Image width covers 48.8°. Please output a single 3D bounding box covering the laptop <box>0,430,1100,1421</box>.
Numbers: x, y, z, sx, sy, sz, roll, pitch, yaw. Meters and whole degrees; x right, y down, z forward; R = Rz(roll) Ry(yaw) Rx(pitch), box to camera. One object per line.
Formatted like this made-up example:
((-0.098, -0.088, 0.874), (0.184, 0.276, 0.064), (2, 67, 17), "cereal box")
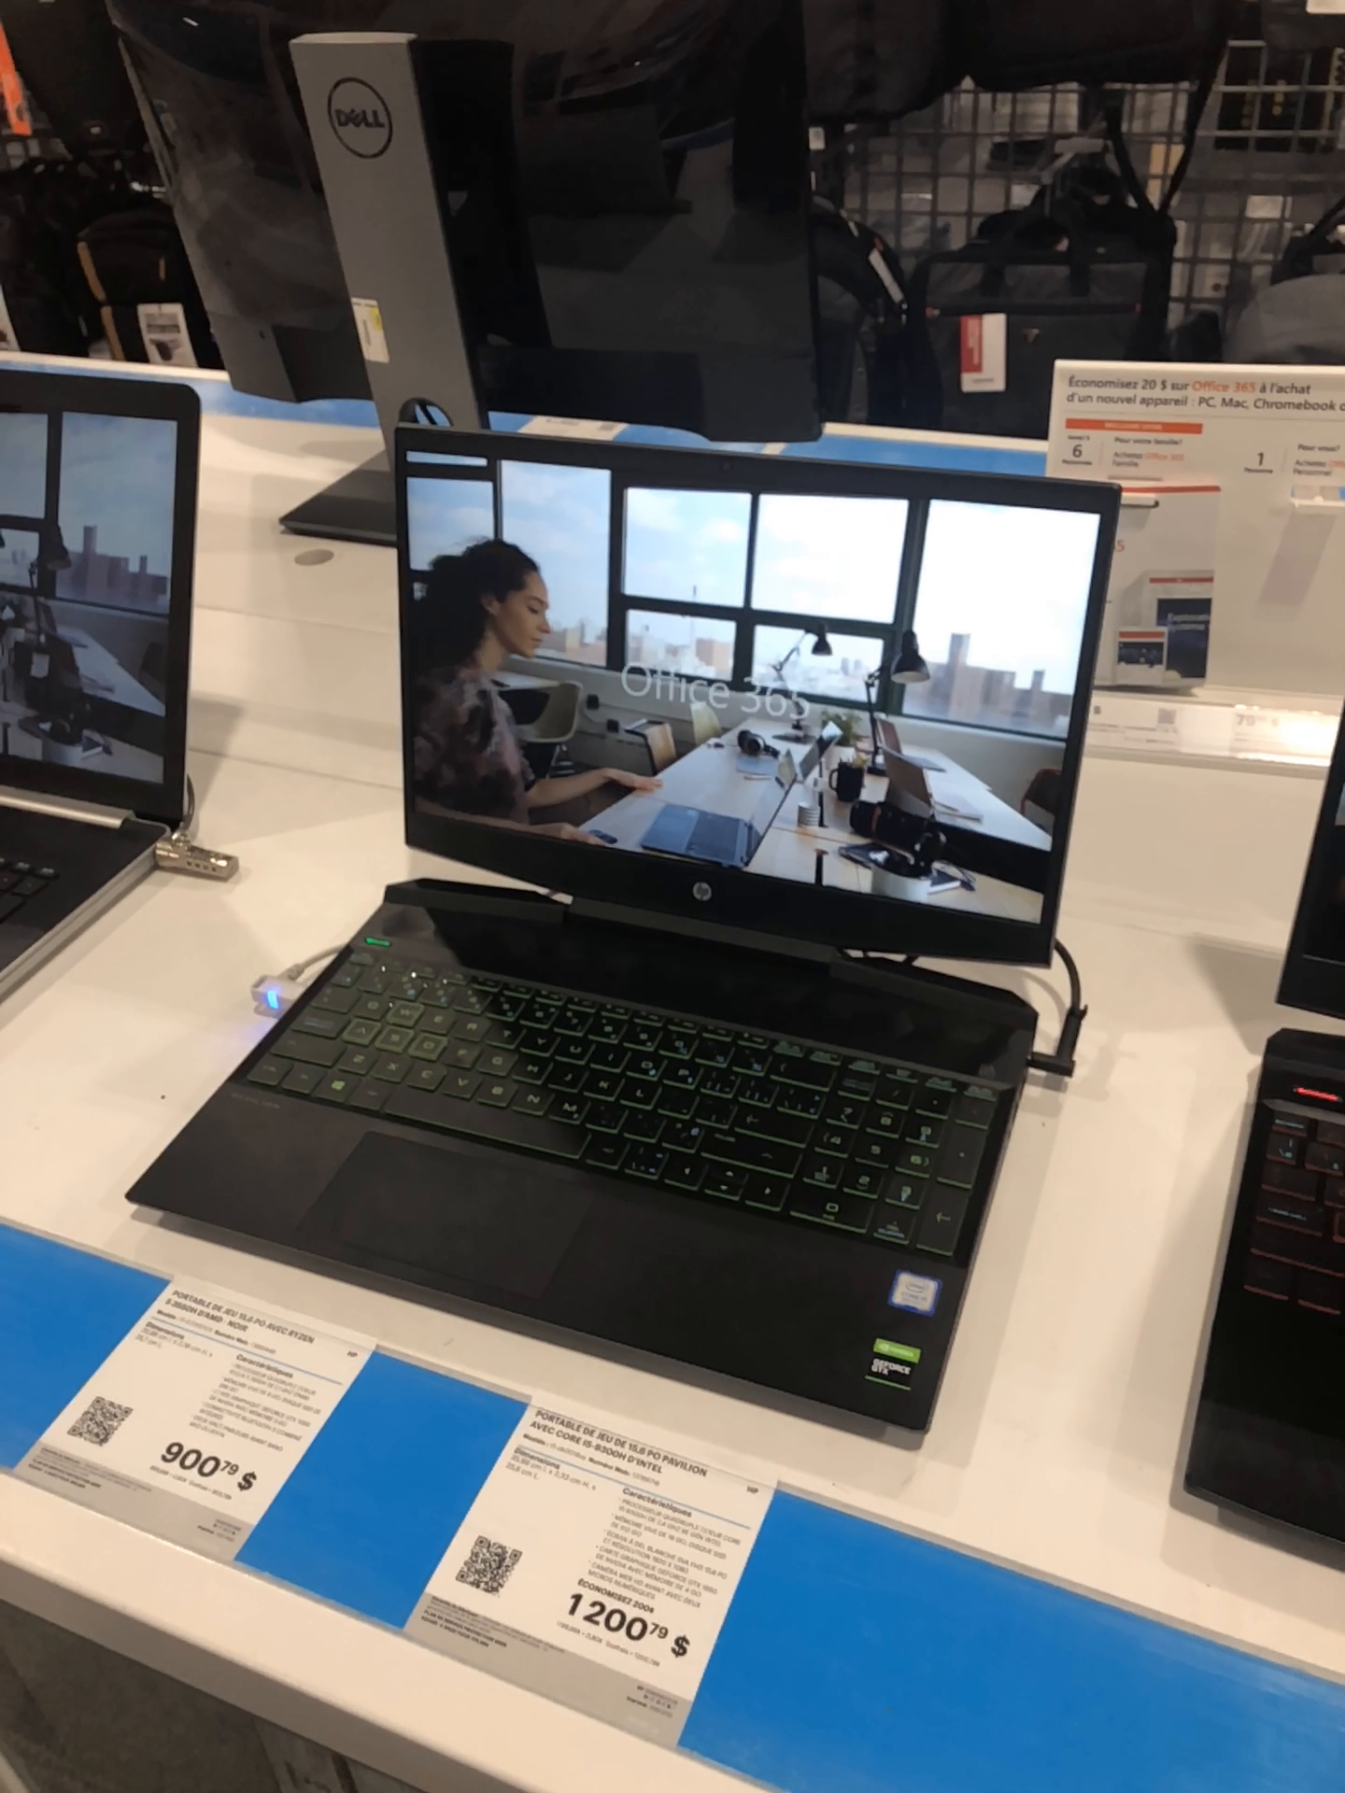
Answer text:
((-0.026, -0.023, 0.652), (0.355, 0.232, 0.317), (11, 37, 17), "laptop")
